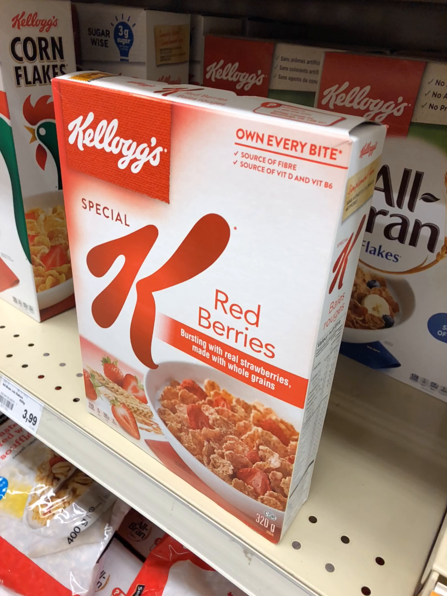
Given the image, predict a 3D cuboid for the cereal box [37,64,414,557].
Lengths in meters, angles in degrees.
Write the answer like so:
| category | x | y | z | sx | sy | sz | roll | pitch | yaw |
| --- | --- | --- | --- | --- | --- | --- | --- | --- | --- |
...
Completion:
| category | x | y | z | sx | sy | sz | roll | pitch | yaw |
| --- | --- | --- | --- | --- | --- | --- | --- | --- | --- |
| cereal box | -0.018 | 0.007 | 0.337 | 0.211 | 0.278 | 0.060 | 24 | 37 | 31 |
